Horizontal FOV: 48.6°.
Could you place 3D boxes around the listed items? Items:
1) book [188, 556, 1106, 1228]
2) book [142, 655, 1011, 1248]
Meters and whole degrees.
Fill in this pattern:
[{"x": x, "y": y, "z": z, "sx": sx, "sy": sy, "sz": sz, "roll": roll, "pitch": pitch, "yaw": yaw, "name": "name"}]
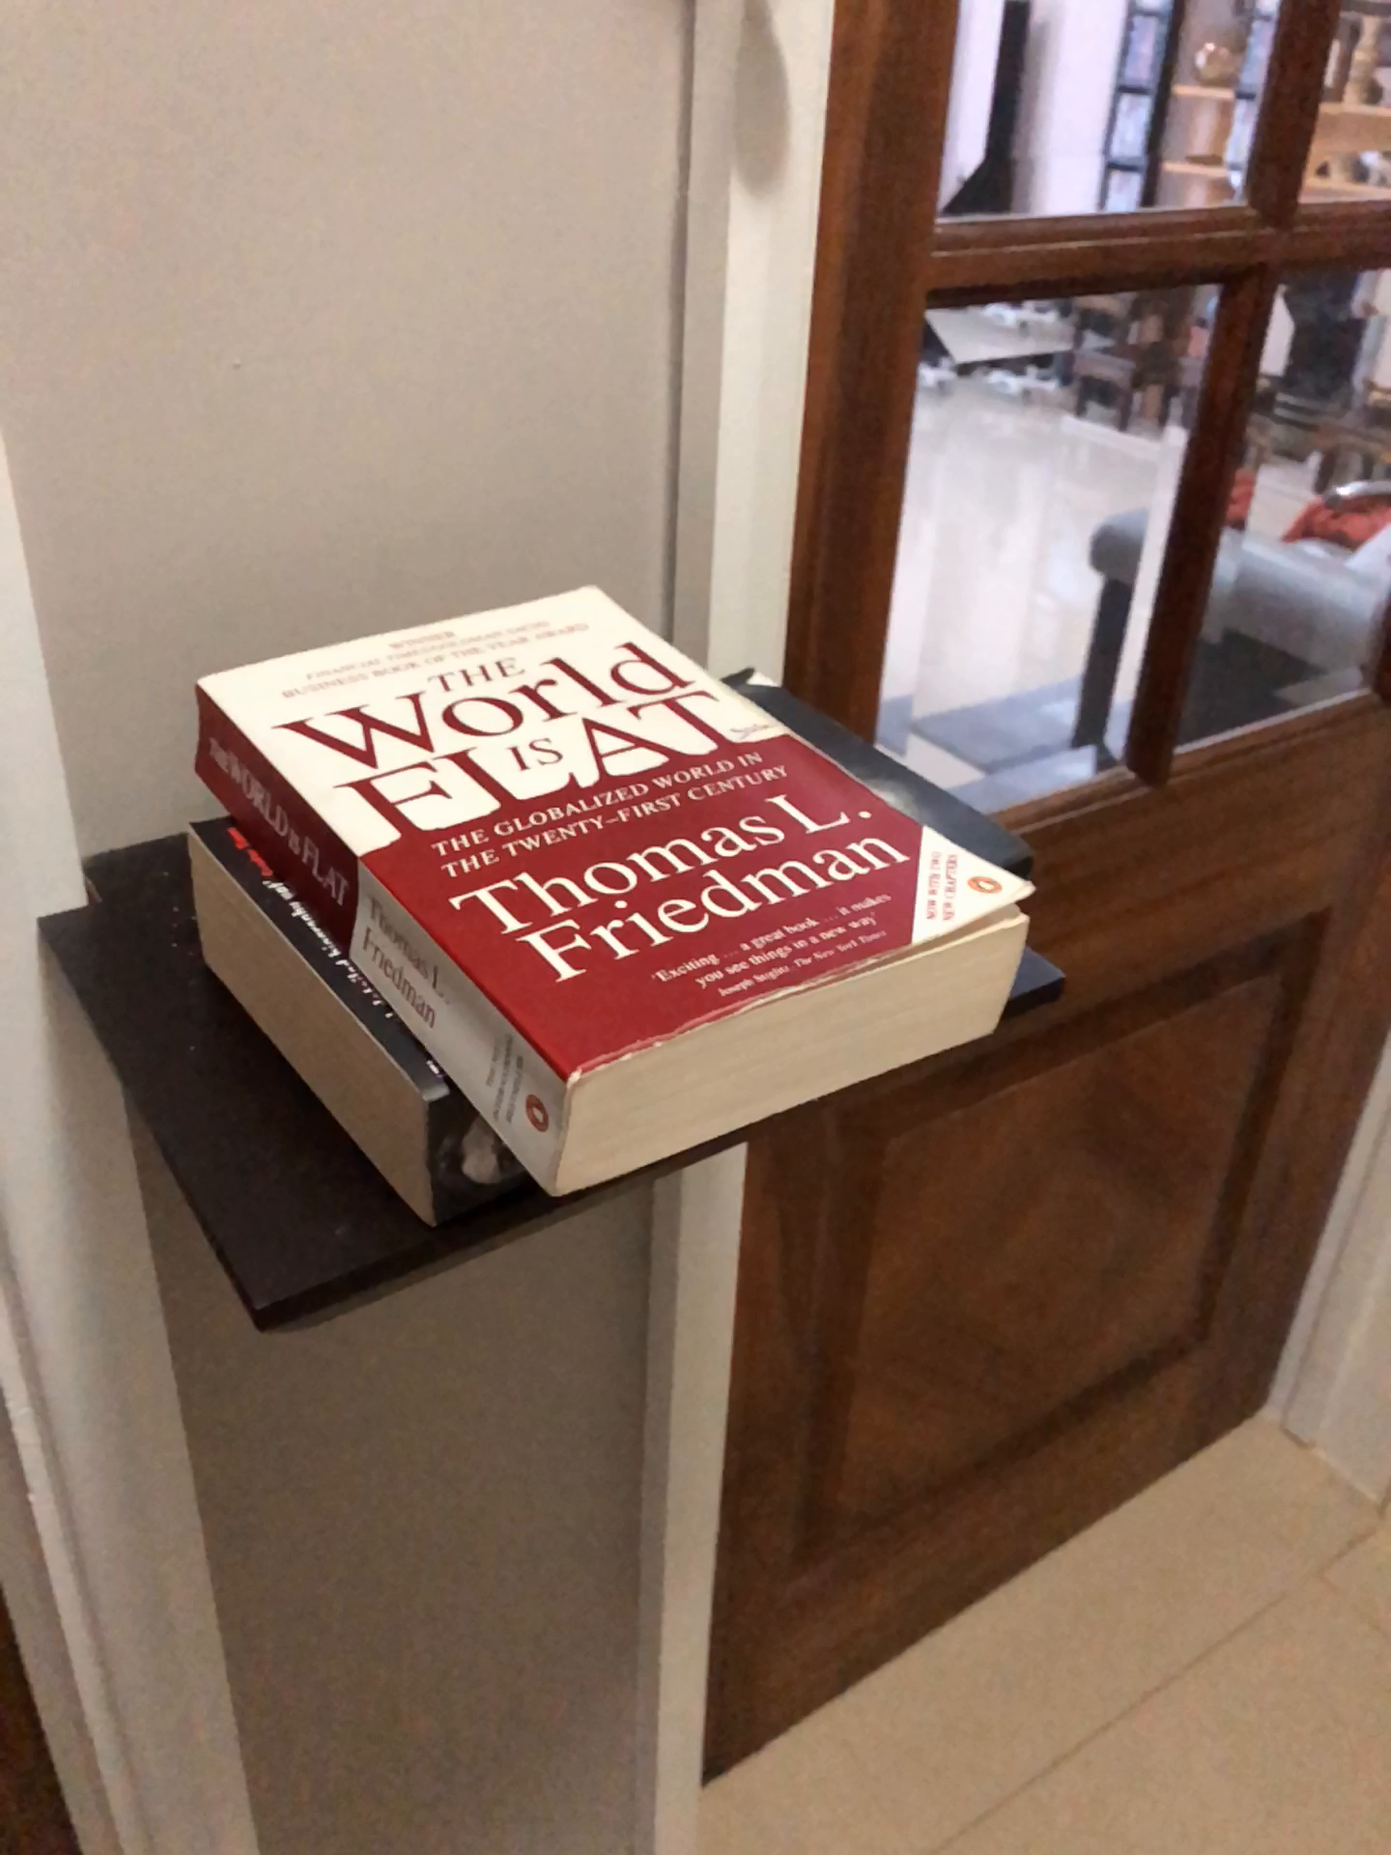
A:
[{"x": -0.024, "y": -0.029, "z": 0.399, "sx": 0.140, "sy": 0.040, "sz": 0.211, "roll": -19, "pitch": 40, "yaw": -28, "name": "book"}, {"x": -0.032, "y": -0.010, "z": 0.453, "sx": 0.201, "sy": 0.040, "sz": 0.151, "roll": -20, "pitch": 47, "yaw": -36, "name": "book"}]
